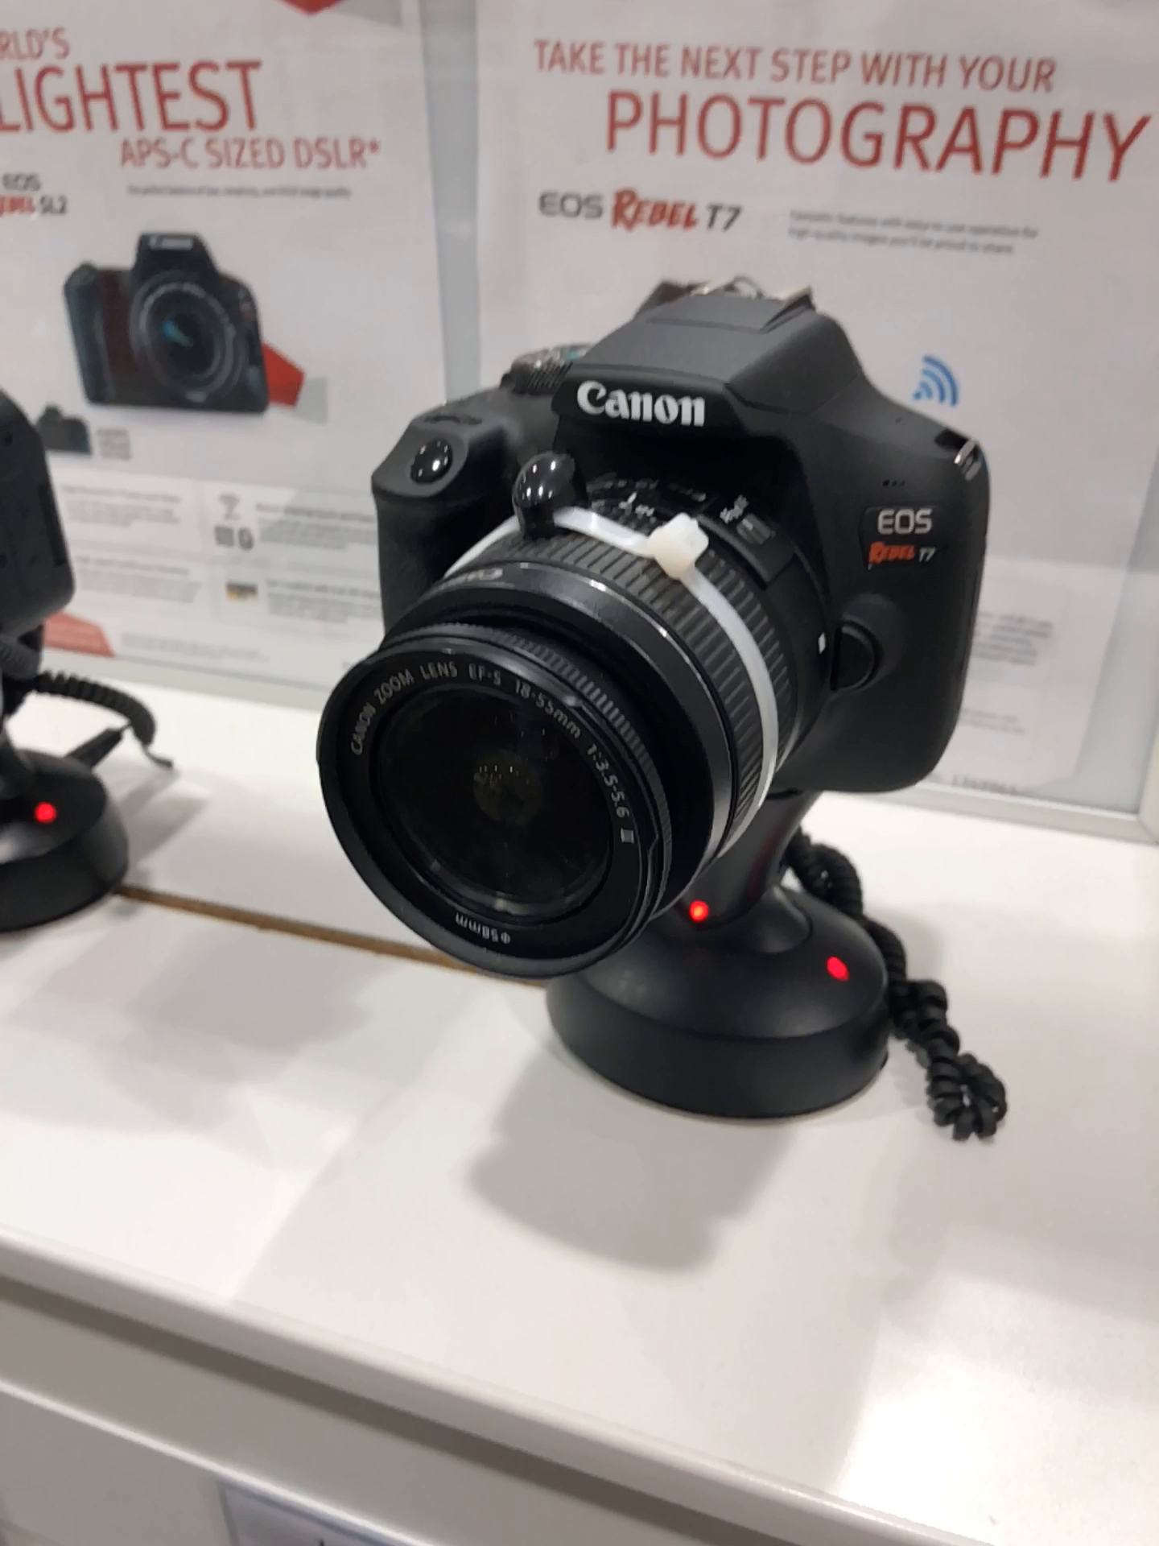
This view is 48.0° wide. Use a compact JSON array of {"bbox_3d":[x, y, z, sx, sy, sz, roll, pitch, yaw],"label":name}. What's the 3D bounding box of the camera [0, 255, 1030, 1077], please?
[{"bbox_3d":[-0.001,-0.039,0.249,0.140,0.090,0.140,11,31,20],"label":"camera"}]
